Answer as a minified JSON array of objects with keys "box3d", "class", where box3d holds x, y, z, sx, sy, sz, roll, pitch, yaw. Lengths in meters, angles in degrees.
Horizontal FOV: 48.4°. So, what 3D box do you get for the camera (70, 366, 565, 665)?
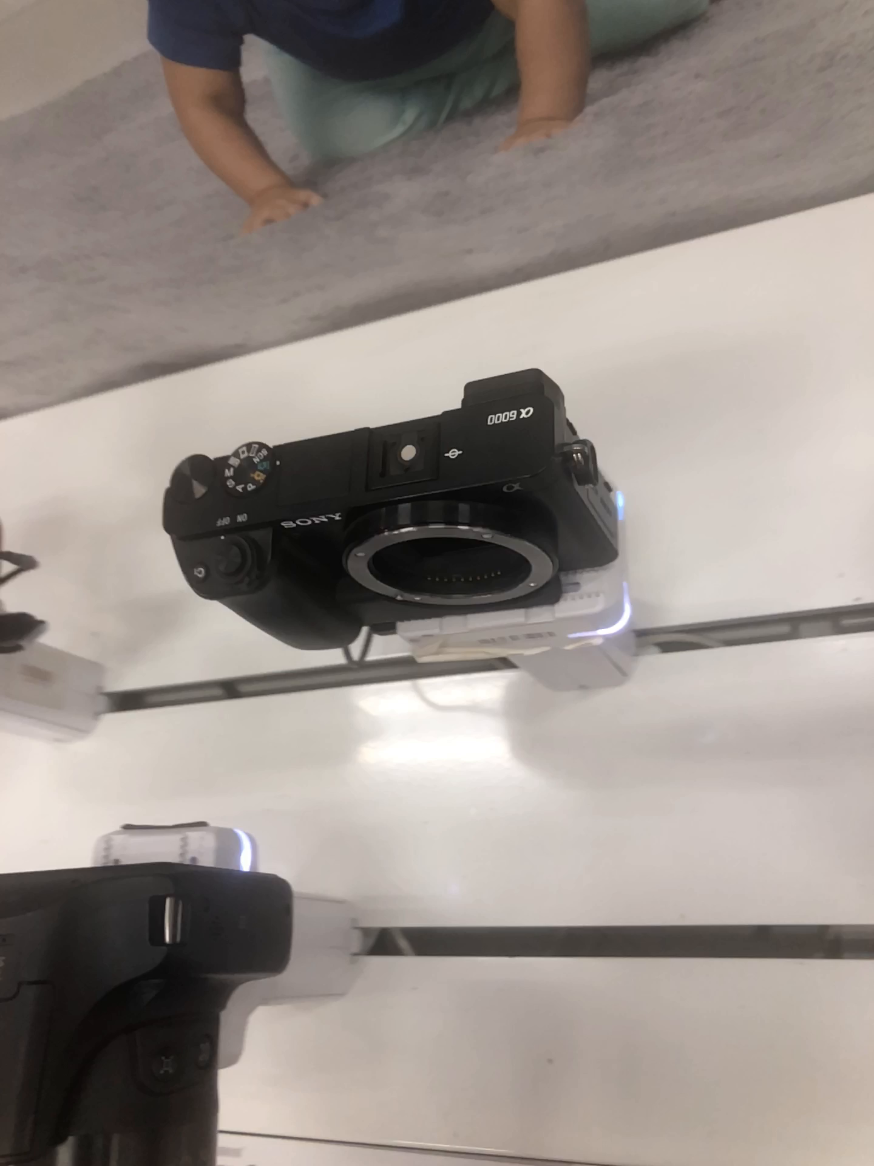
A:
[{"box3d":[-0.032,-0.013,0.283,0.120,0.070,0.040,-9,64,21],"class":"camera"}]
